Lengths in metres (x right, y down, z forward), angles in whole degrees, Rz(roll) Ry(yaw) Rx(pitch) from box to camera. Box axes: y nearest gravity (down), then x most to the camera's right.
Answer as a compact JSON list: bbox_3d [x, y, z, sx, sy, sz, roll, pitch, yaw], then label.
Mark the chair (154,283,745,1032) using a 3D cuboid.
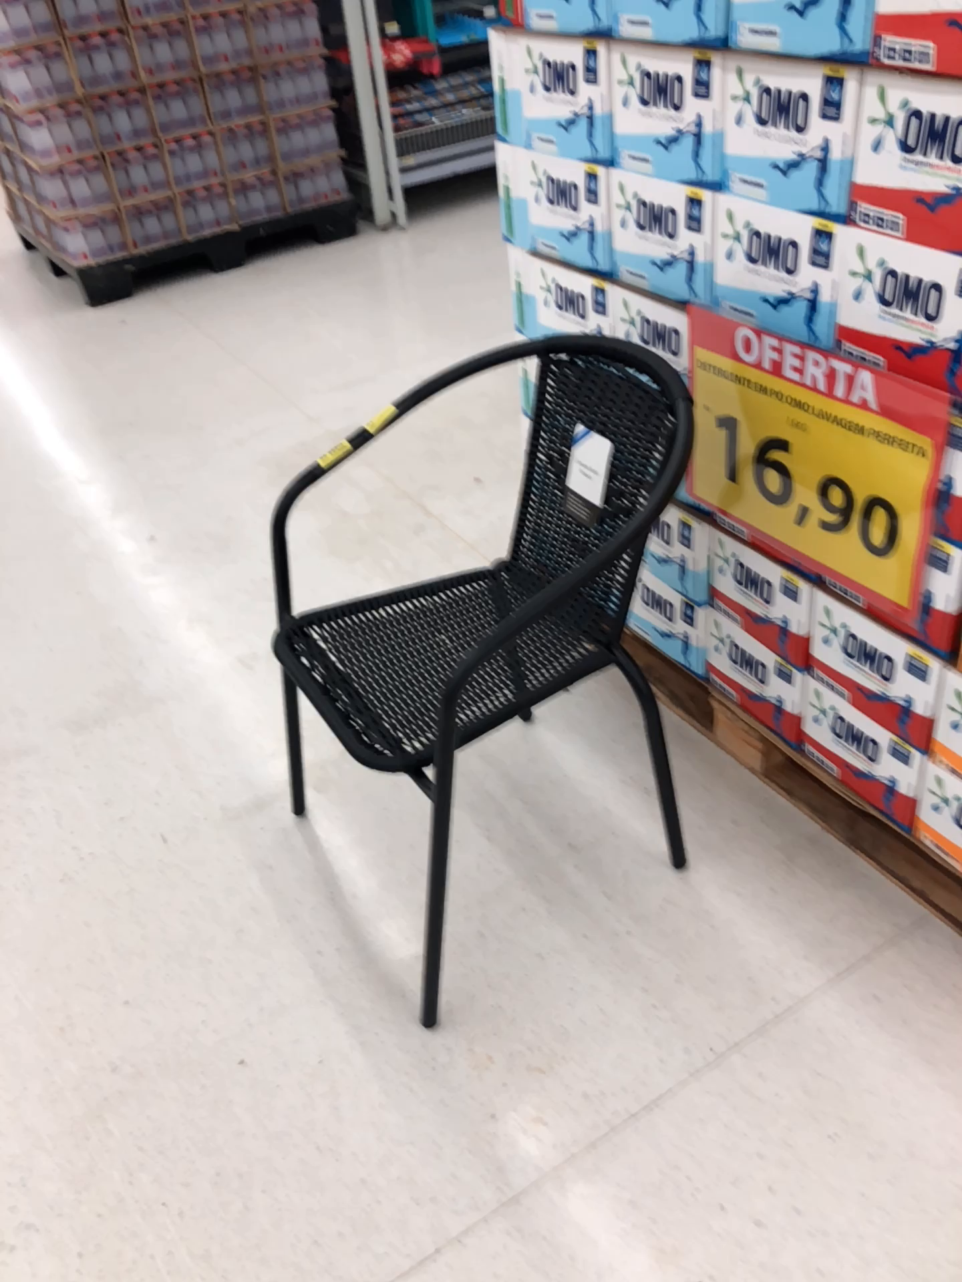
[{"bbox_3d":[-0.025,0.001,1.419,0.501,0.724,0.503,-23,39,-21],"label":"chair"}]
